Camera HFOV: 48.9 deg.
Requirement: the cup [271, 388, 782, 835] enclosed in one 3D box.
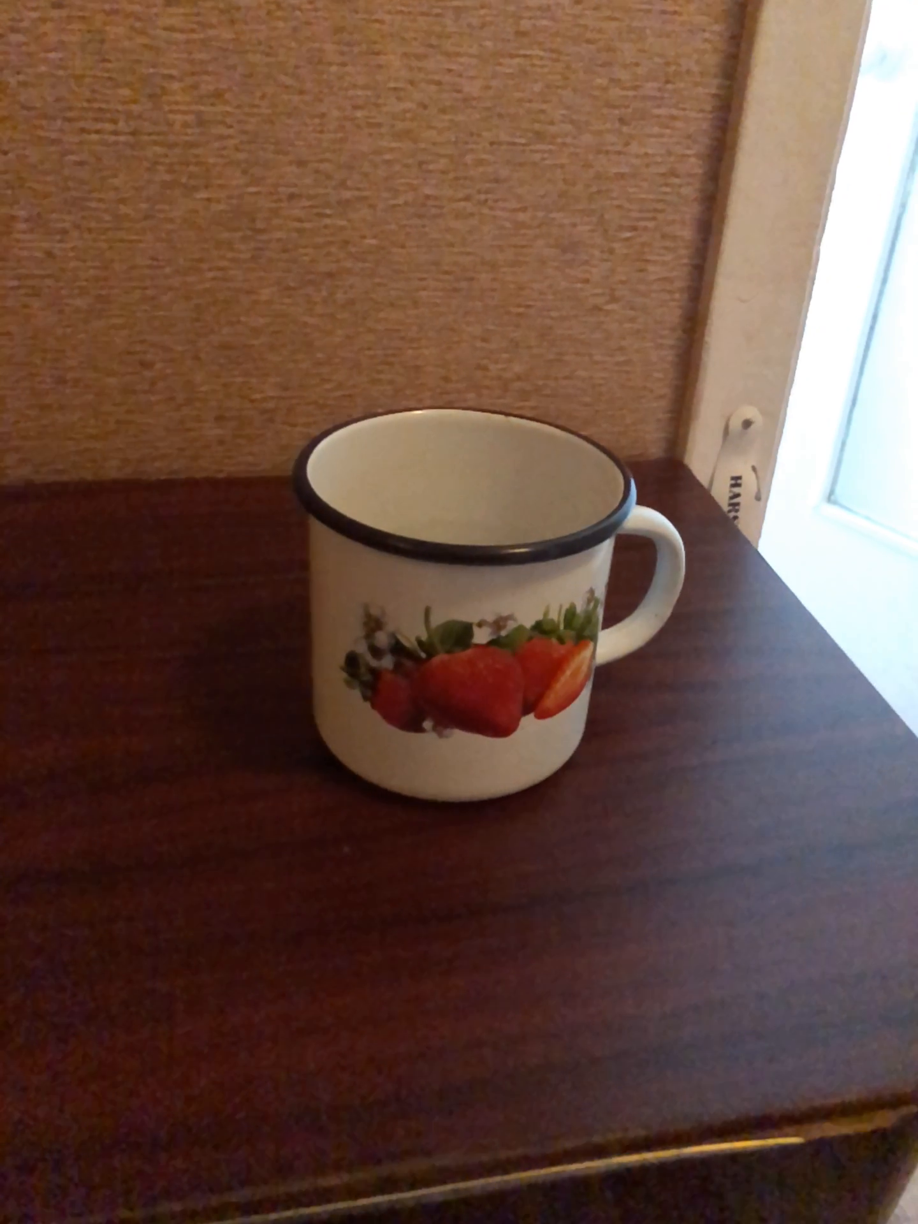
[{"bbox_3d":[0.015,-0.009,0.392,0.155,0.113,0.119,-6,32,-14],"label":"cup"}]
